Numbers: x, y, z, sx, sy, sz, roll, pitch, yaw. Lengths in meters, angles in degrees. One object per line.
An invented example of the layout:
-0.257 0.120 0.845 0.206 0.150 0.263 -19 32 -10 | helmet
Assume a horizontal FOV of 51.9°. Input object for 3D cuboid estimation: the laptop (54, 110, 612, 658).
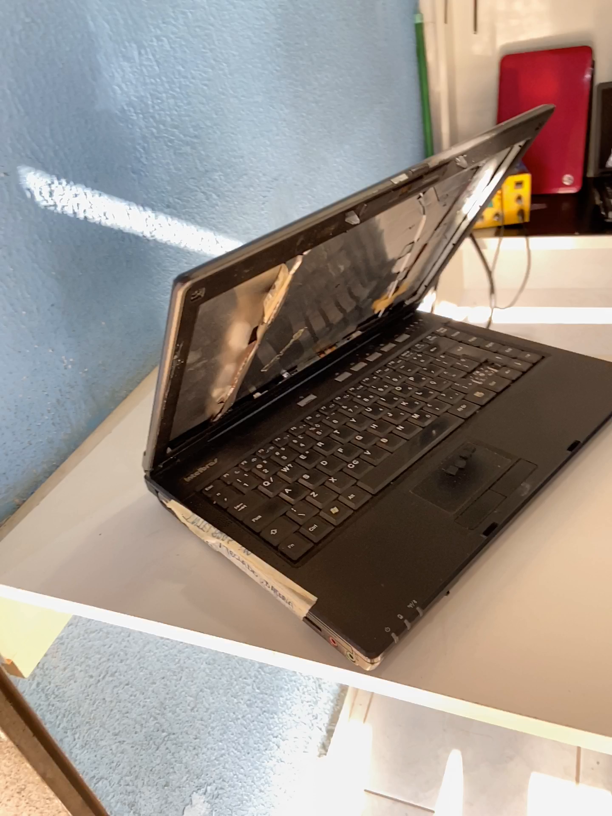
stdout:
0.058 -0.064 0.434 0.323 0.191 0.232 -33 39 -31 | laptop
